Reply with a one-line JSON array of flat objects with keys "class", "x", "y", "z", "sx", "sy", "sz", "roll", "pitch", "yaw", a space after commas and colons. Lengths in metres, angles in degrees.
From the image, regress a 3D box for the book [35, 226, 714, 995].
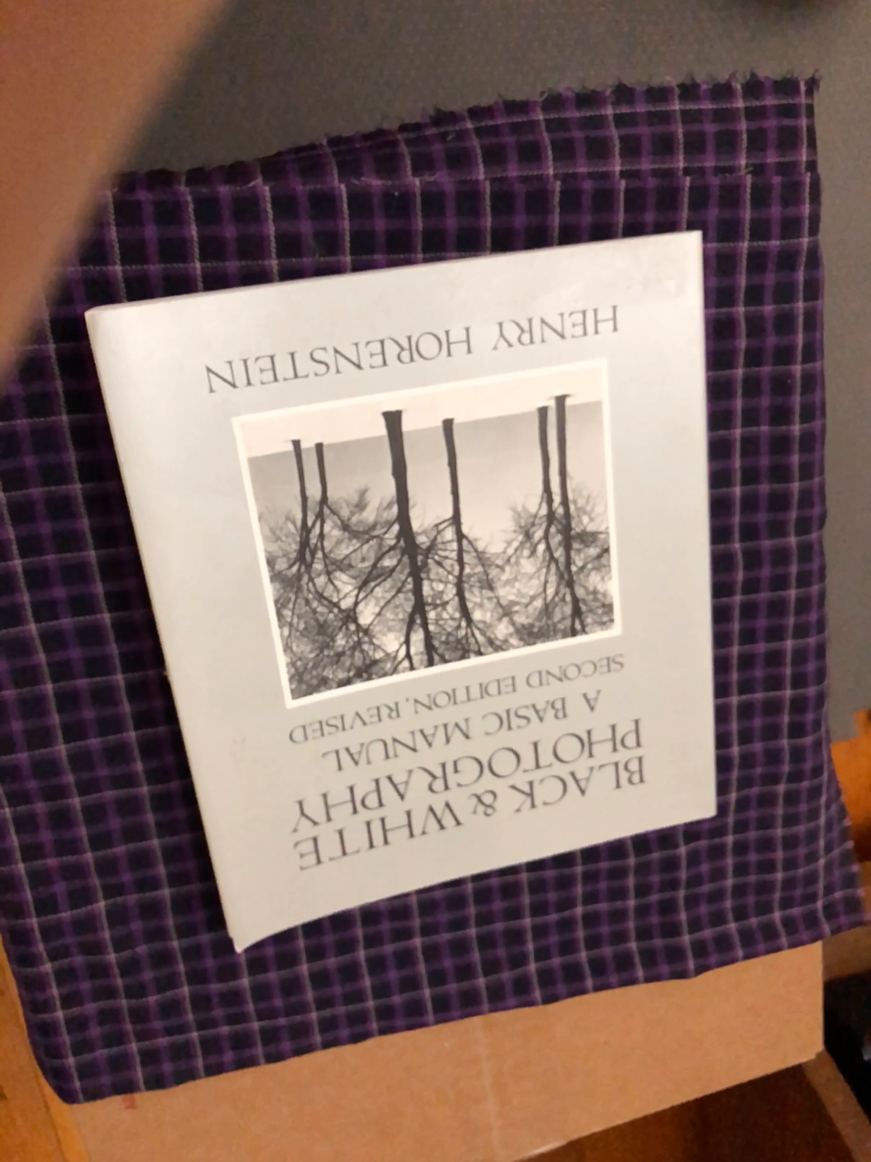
[{"class": "book", "x": -0.004, "y": 0.015, "z": 0.358, "sx": 0.210, "sy": 0.030, "sz": 0.250, "roll": -11, "pitch": 110, "yaw": -11}]
